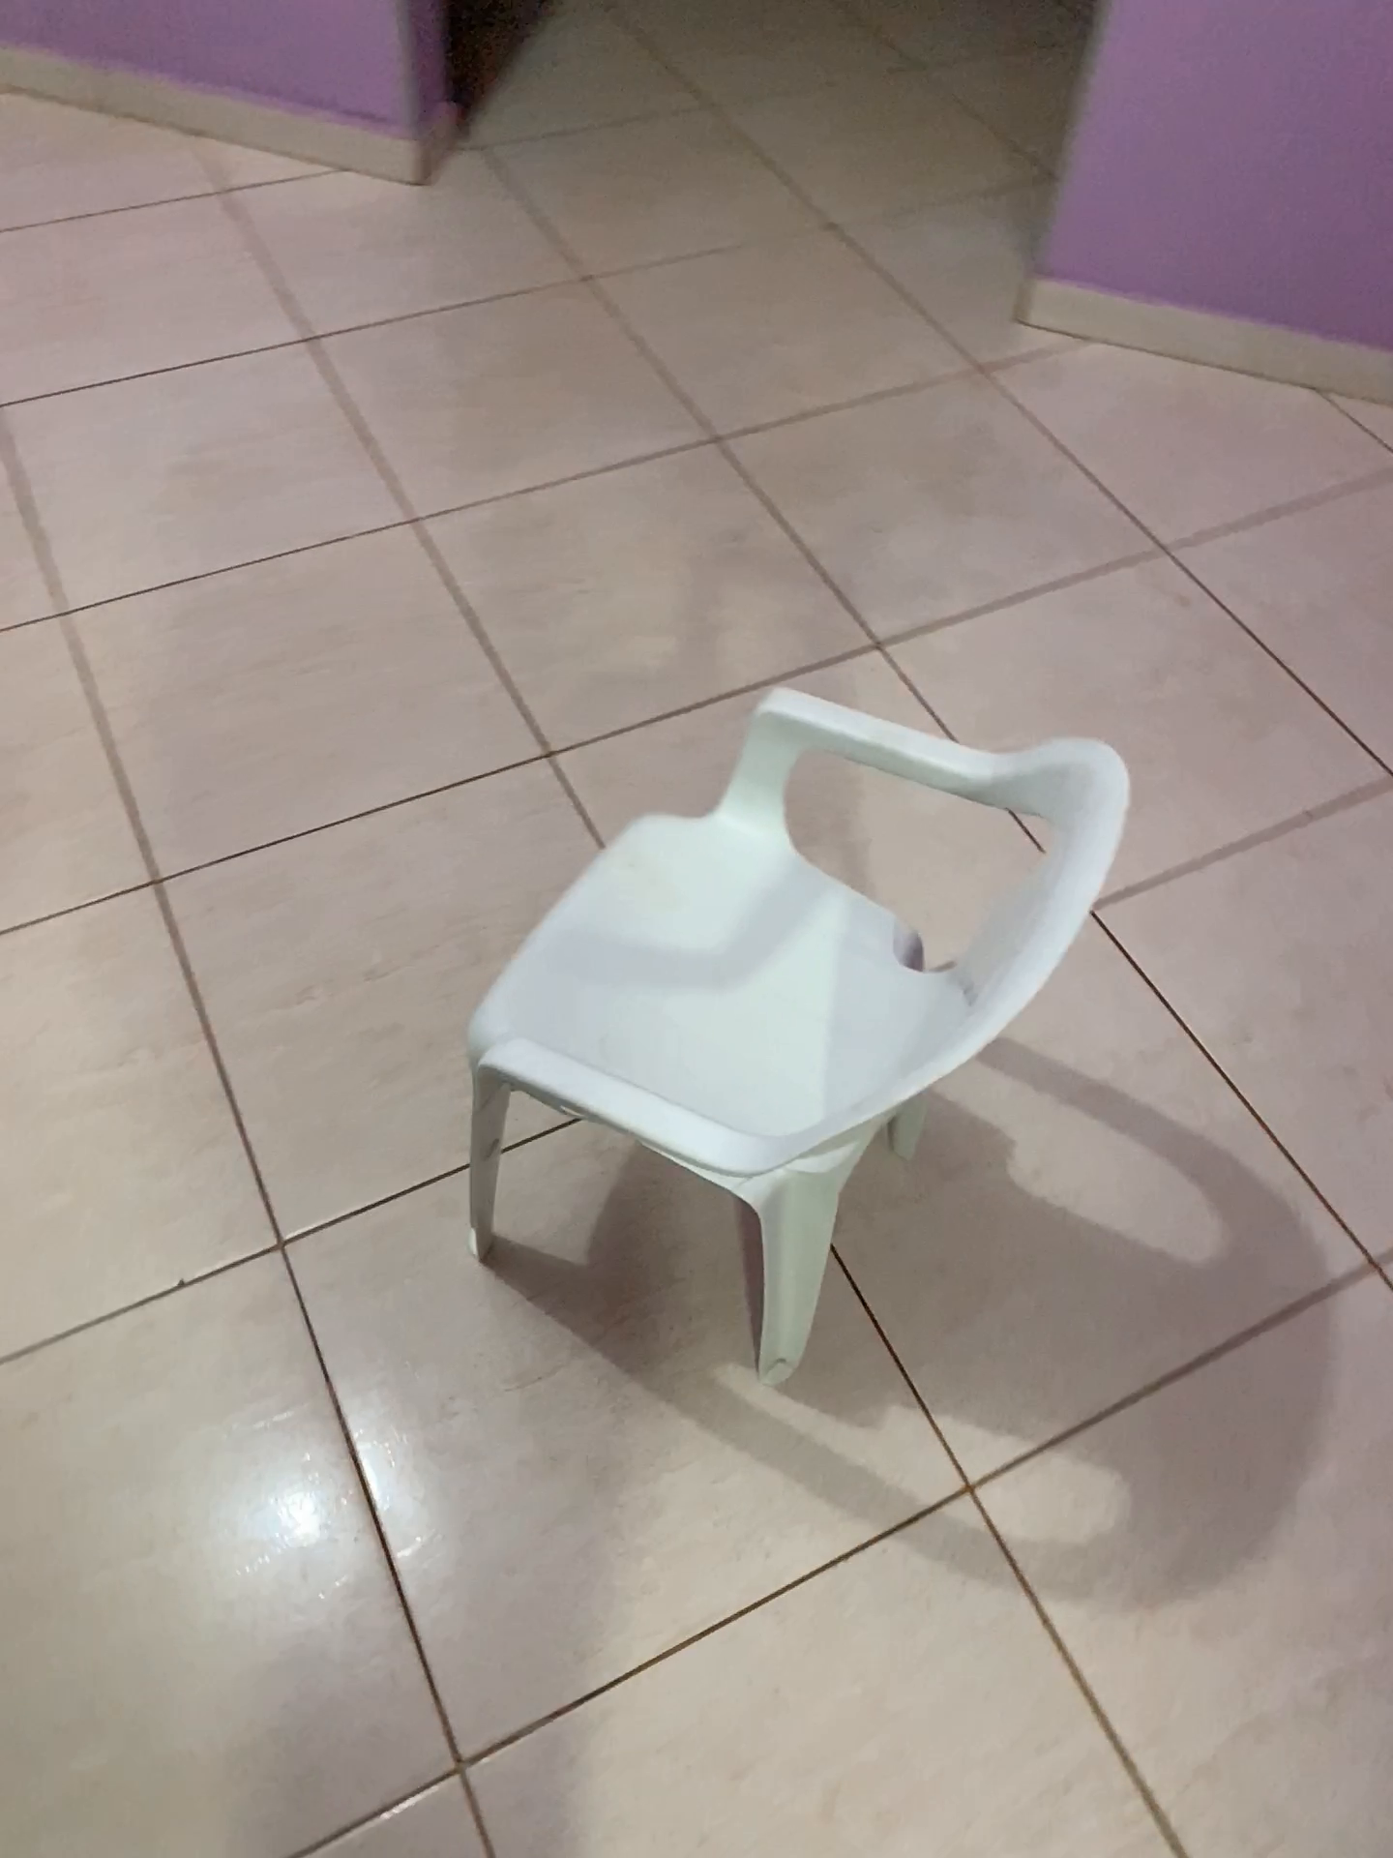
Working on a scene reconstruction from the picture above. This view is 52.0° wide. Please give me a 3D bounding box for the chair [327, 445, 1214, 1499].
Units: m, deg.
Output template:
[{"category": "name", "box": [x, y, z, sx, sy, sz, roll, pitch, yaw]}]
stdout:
[{"category": "chair", "box": [0.047, 0.064, 1.049, 0.360, 0.595, 0.403, 25, 57, 15]}]
